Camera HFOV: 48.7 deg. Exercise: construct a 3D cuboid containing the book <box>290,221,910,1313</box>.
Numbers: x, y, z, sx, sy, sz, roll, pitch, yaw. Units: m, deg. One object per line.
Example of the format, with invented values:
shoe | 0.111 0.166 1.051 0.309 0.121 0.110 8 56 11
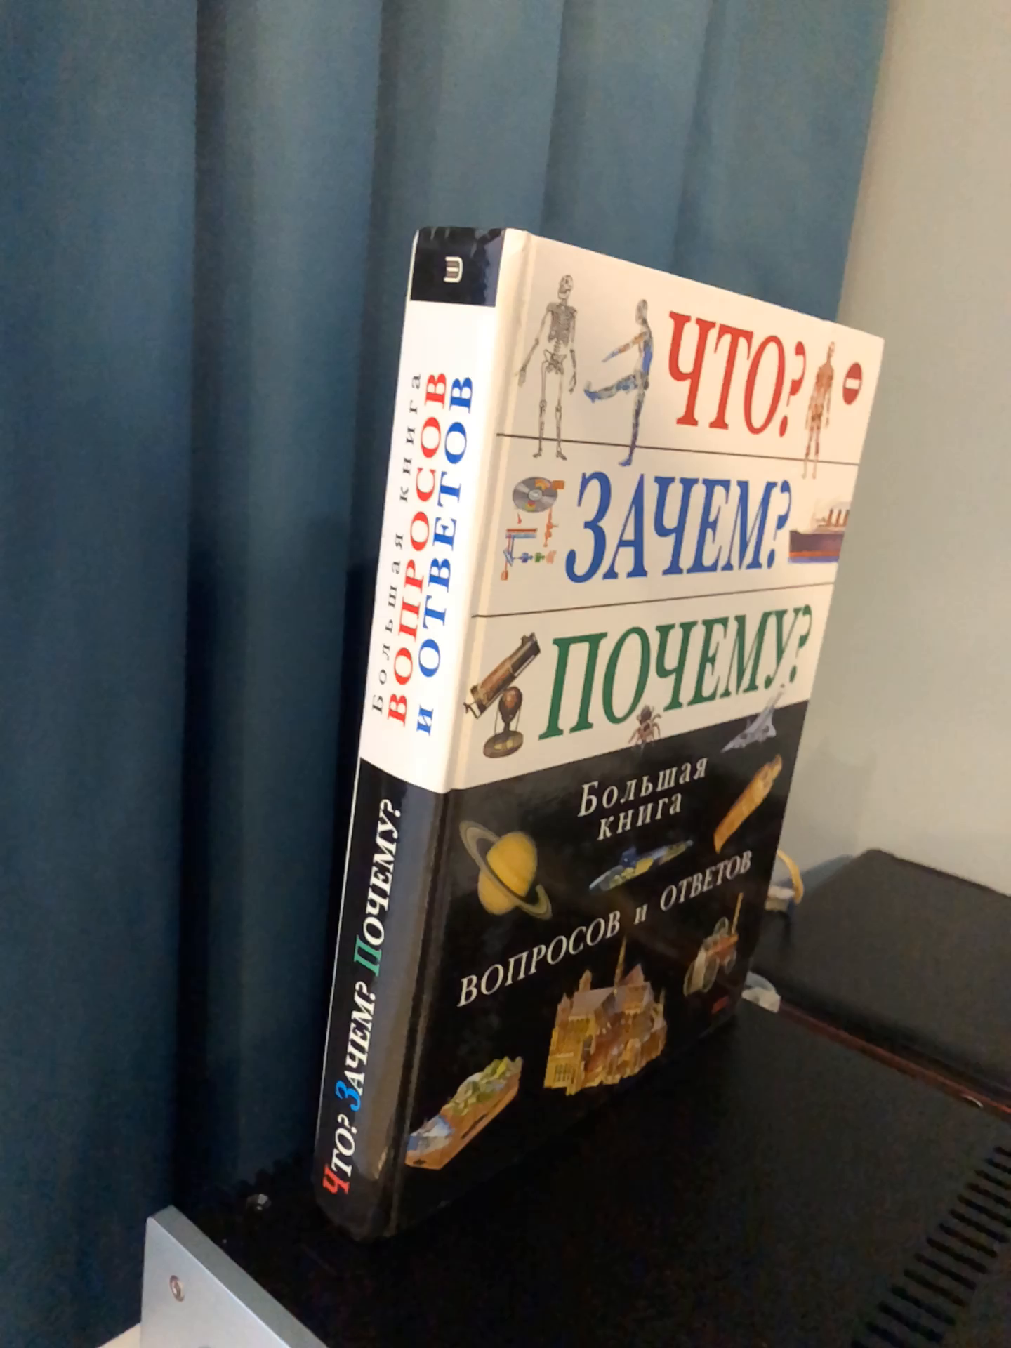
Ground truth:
book | 0.042 0.025 0.388 0.042 0.301 0.225 20 18 37
